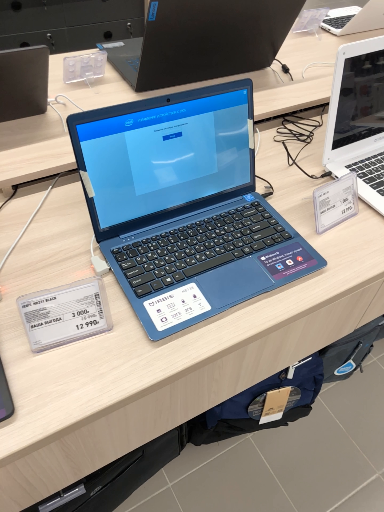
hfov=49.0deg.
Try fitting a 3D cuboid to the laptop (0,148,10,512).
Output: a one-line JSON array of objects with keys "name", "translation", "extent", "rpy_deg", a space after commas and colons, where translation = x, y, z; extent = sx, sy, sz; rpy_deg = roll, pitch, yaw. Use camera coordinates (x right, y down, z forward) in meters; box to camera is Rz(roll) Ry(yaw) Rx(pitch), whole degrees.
[{"name": "laptop", "translation": [-0.419, 0.064, 0.457], "extent": [0.301, 0.155, 0.328], "rpy_deg": [-21, 52, -24]}]

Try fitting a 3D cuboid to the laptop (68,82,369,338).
[{"name": "laptop", "translation": [0.023, -0.090, 0.635], "extent": [0.309, 0.185, 0.271], "rpy_deg": [-20, 52, -22]}]

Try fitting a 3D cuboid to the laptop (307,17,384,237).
[{"name": "laptop", "translation": [0.457, -0.259, 0.796], "extent": [0.311, 0.218, 0.289], "rpy_deg": [-22, 53, -22]}]
